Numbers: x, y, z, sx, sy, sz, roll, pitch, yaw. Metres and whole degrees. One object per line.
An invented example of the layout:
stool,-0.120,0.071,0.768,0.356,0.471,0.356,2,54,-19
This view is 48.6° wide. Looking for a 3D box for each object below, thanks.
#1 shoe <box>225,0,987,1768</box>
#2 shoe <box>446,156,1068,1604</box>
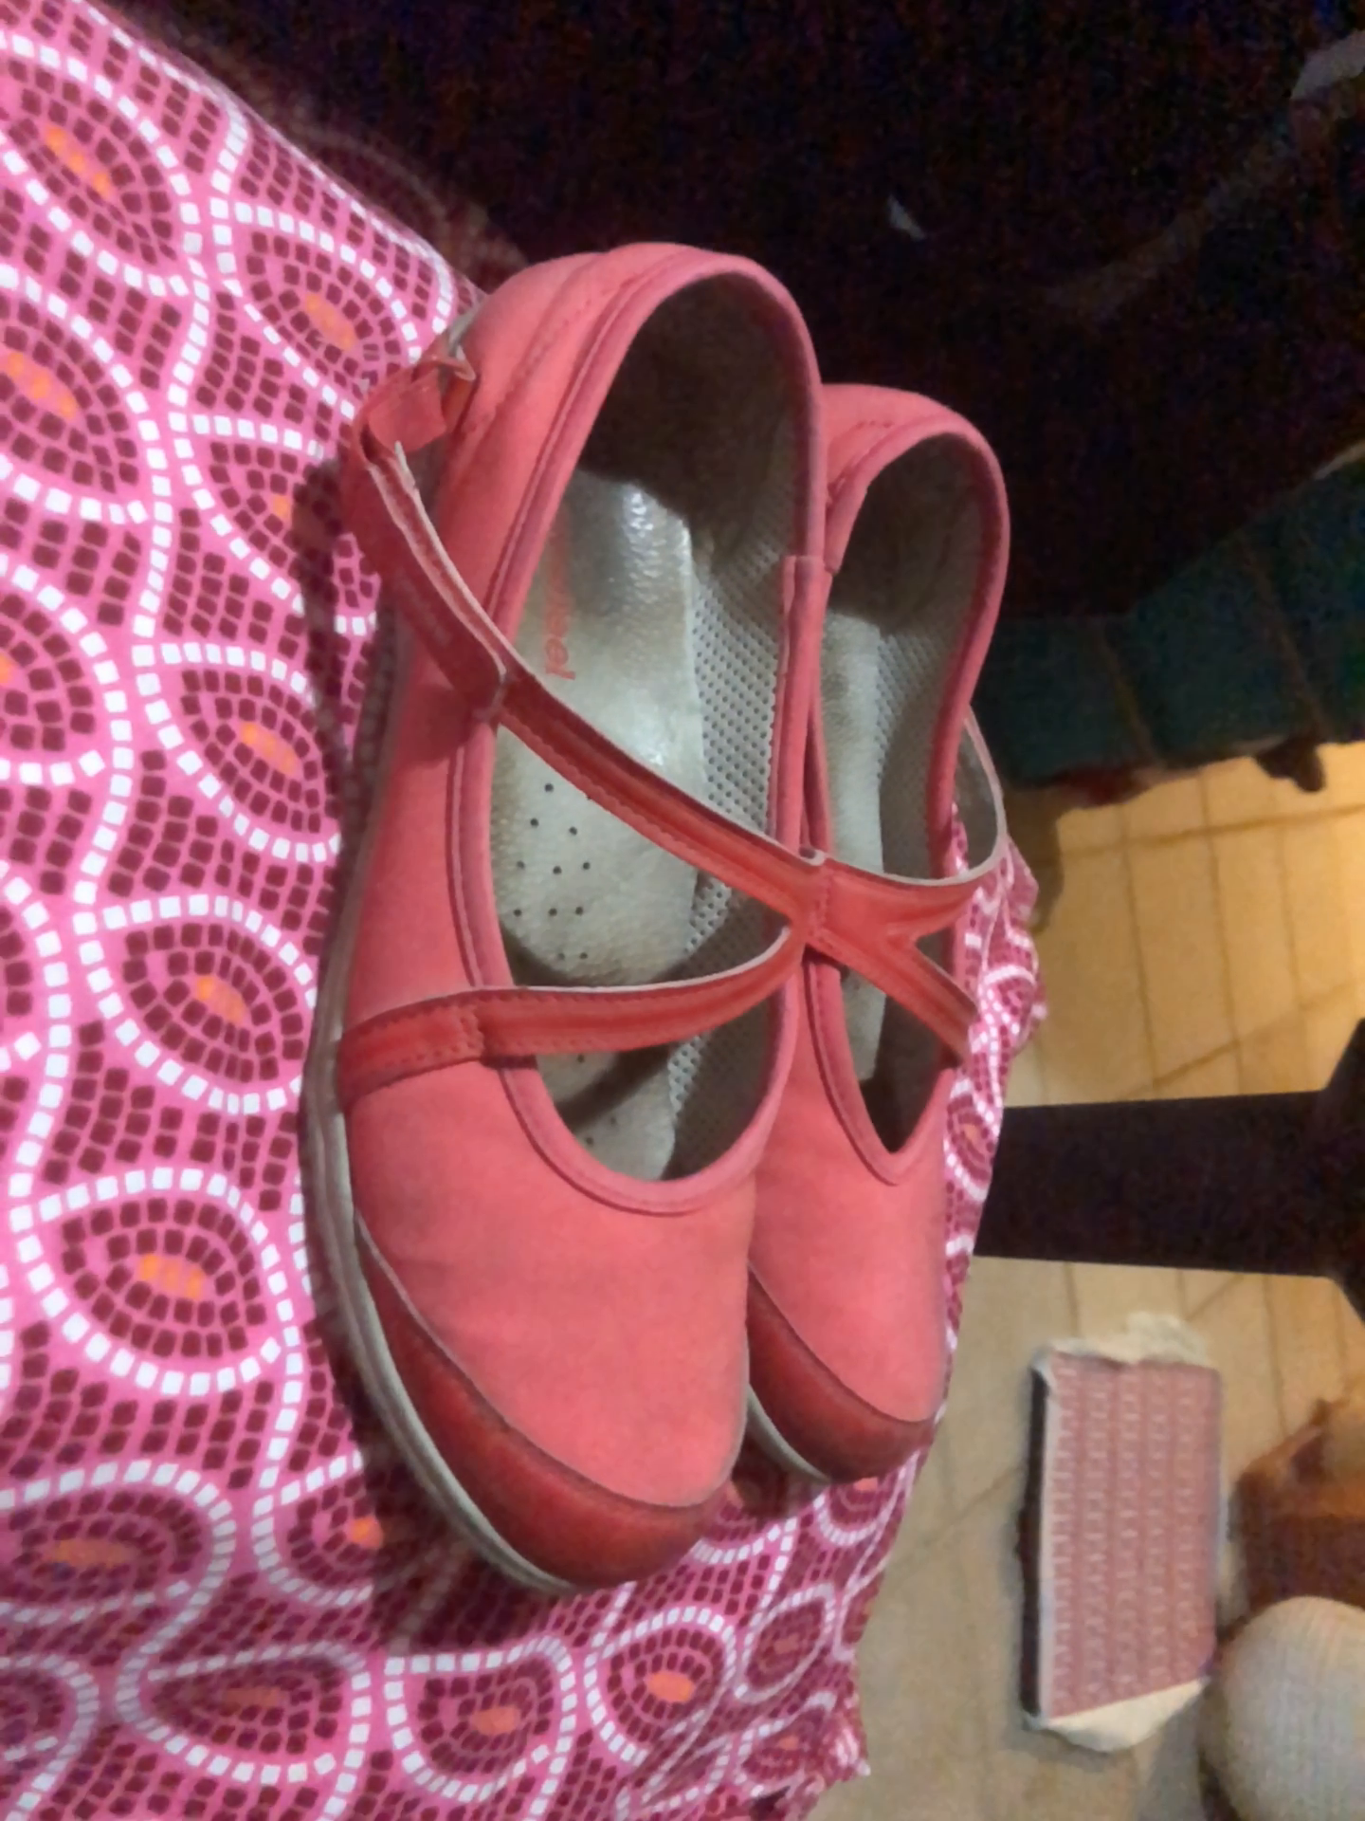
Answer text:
shoe,-0.015,-0.010,0.311,0.111,0.099,0.290,7,79,-51
shoe,0.018,-0.006,0.385,0.111,0.099,0.300,5,81,-51
